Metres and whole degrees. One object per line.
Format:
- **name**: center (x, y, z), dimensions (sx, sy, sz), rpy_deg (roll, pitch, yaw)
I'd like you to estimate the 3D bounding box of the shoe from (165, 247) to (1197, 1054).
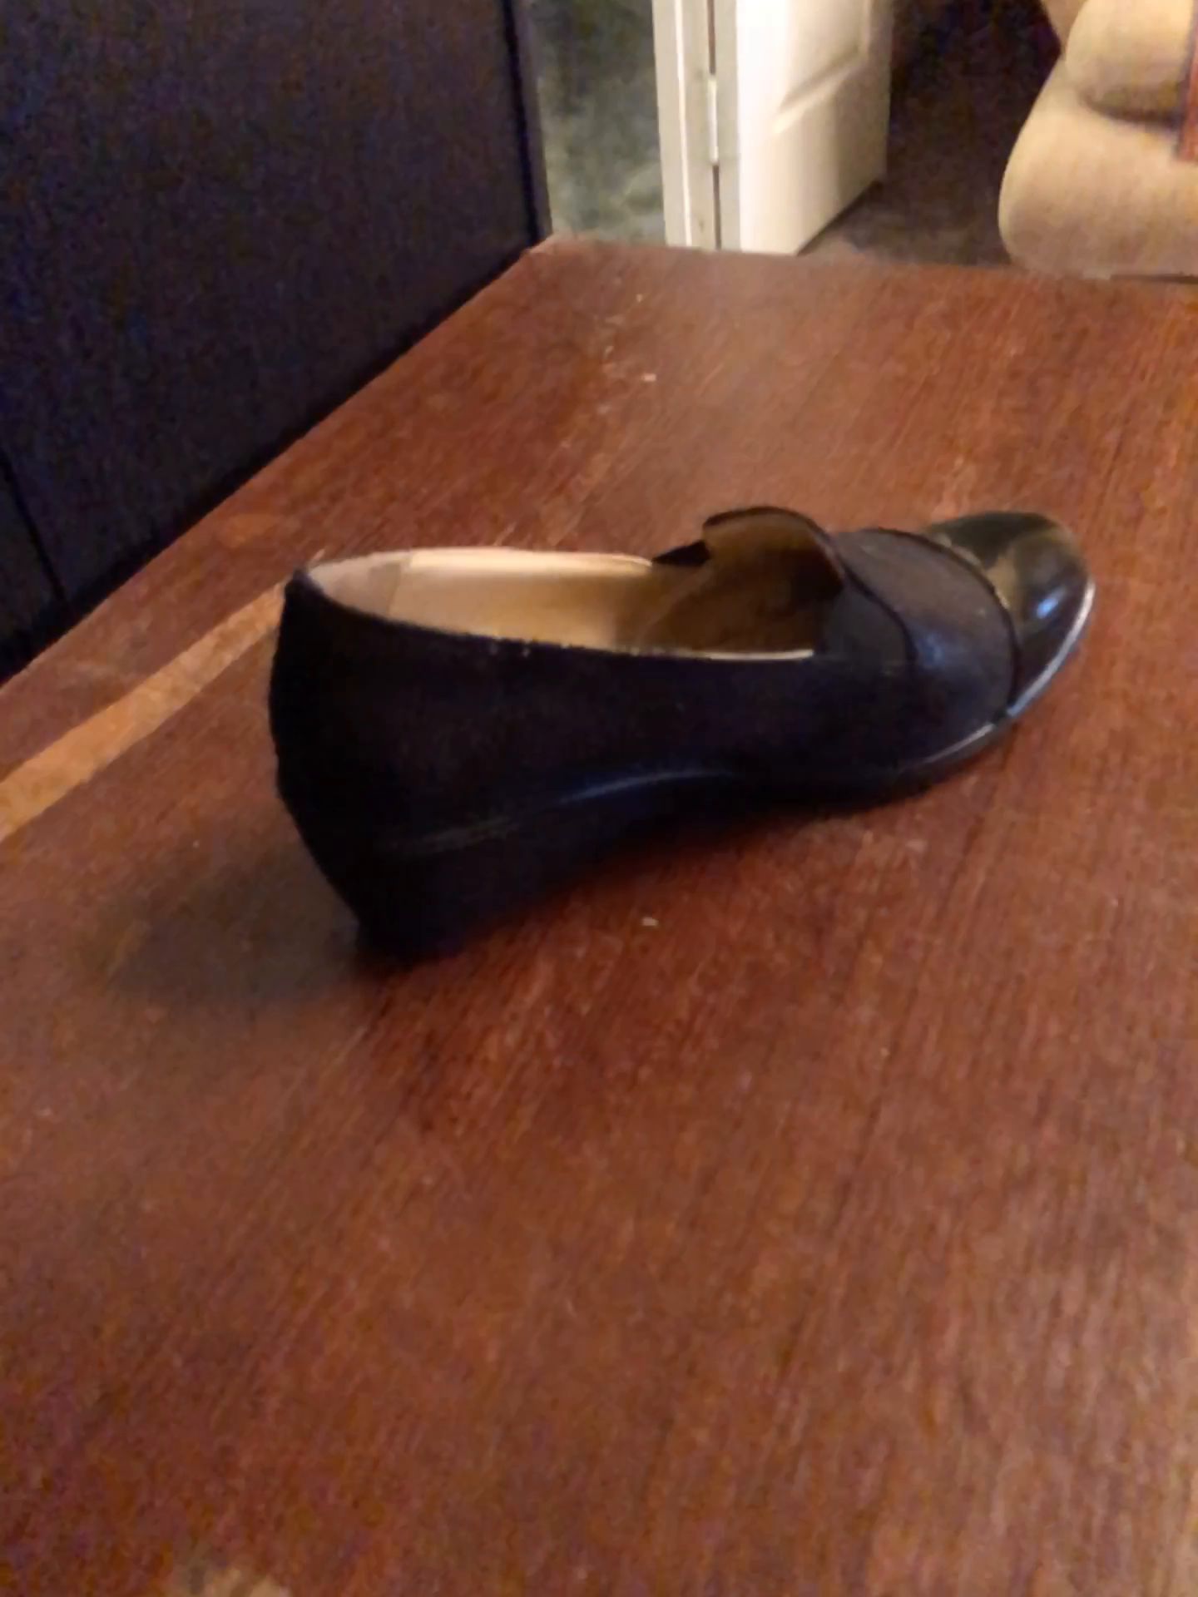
- **shoe**: center (0.034, -0.047, 0.322), dimensions (0.235, 0.089, 0.090), rpy_deg (-23, 44, -17)
